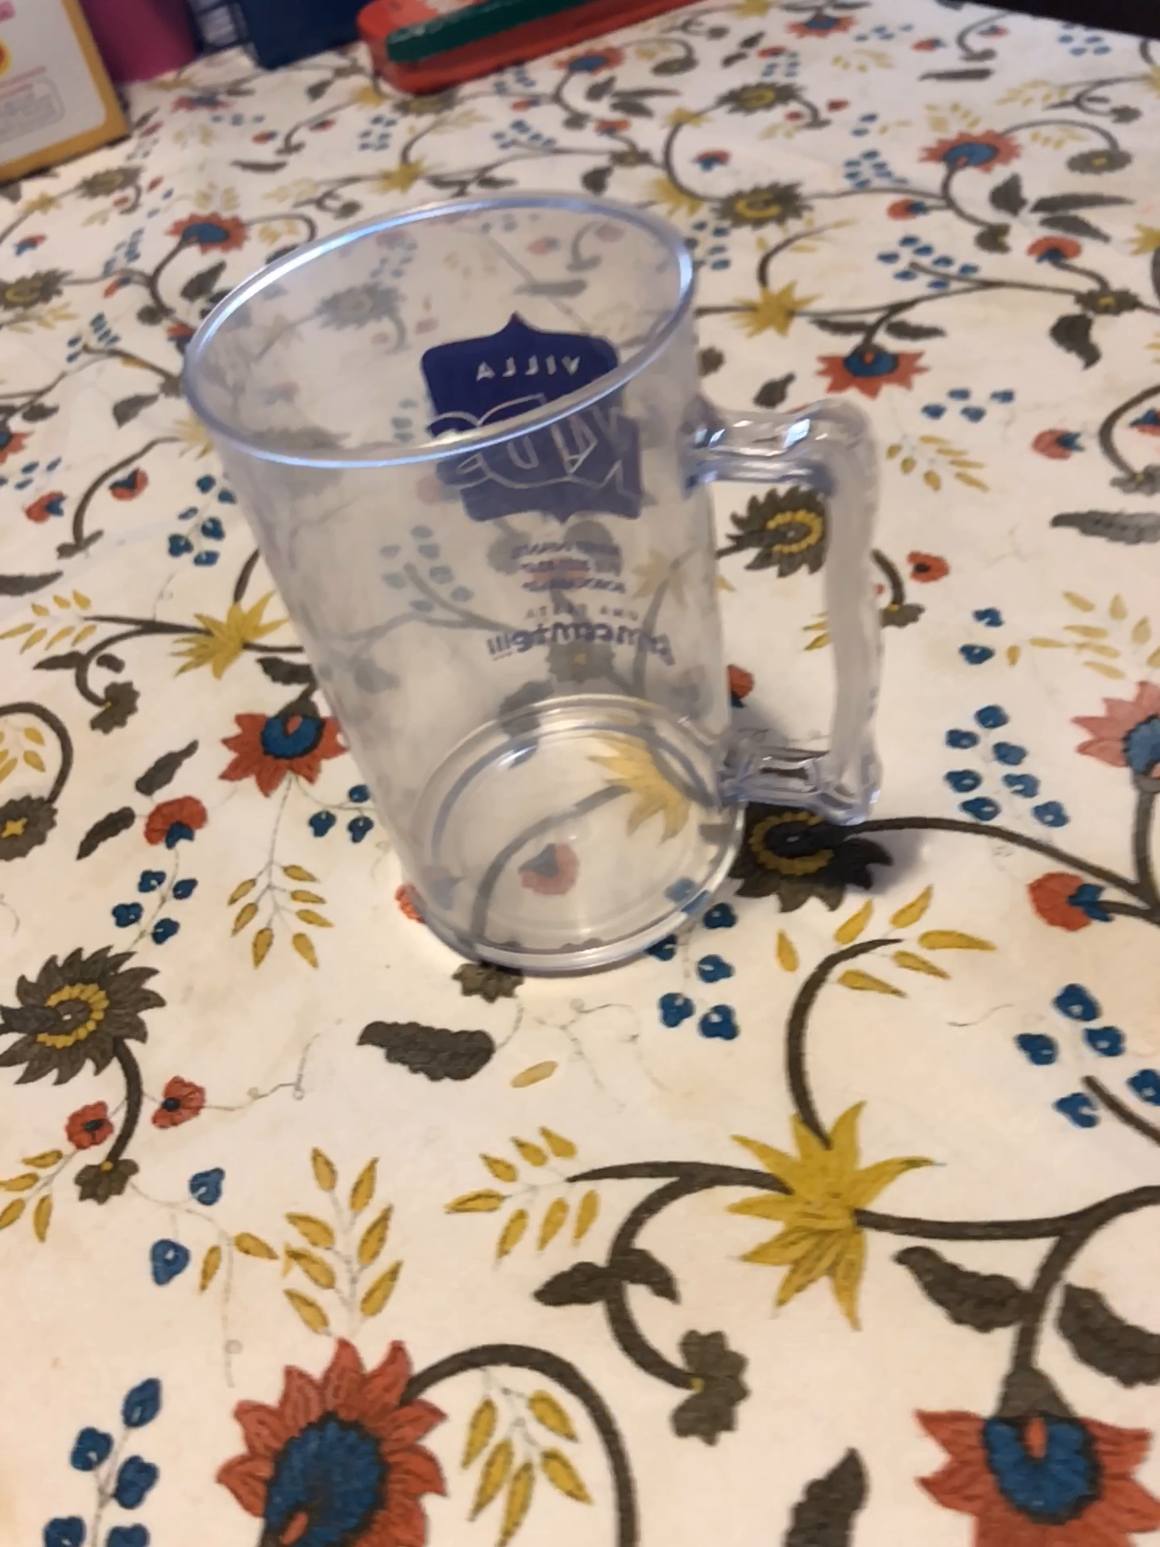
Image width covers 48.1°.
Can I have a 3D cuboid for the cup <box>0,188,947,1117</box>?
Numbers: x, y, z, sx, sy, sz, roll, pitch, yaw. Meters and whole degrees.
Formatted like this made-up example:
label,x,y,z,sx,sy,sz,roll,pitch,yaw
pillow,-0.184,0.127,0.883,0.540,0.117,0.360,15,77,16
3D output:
label,x,y,z,sx,sy,sz,roll,pitch,yaw
cup,-0.005,-0.019,0.207,0.110,0.109,0.080,6,49,18
